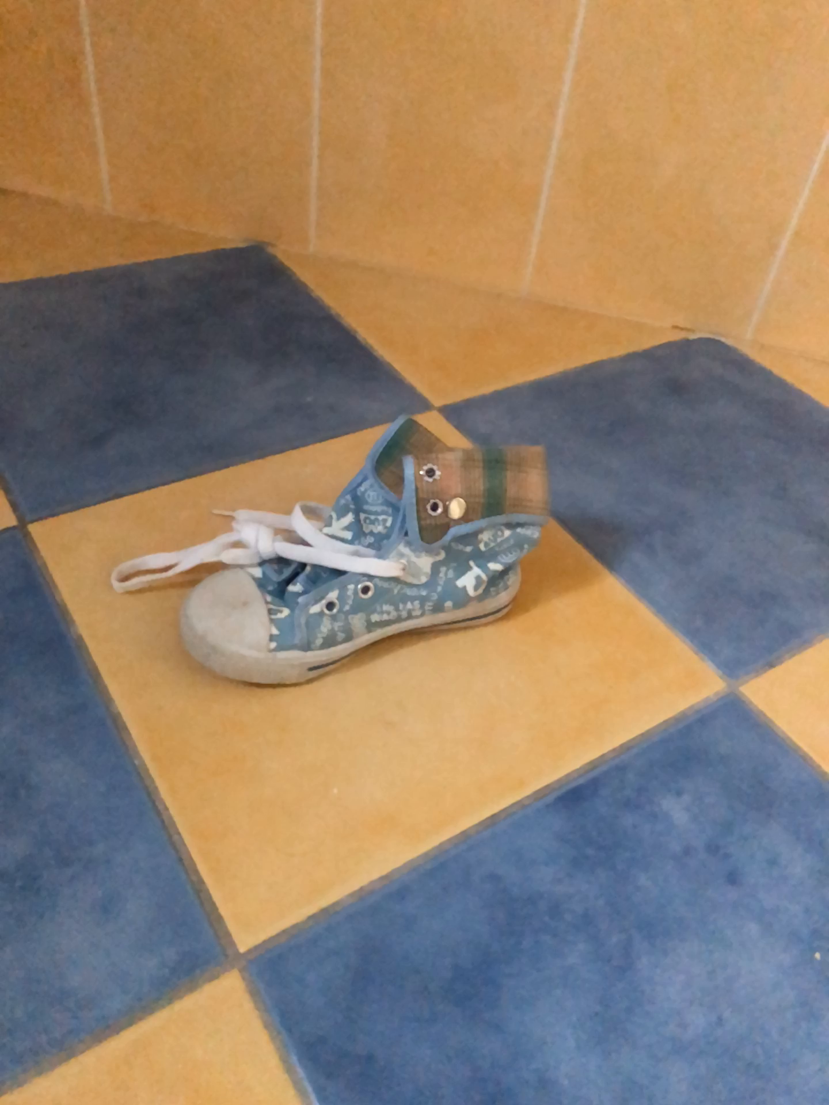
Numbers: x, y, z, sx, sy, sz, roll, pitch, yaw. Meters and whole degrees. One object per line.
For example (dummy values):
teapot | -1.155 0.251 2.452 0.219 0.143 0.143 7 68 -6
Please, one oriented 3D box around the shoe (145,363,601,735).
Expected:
shoe | -0.021 -0.008 0.468 0.201 0.119 0.080 -17 47 -25
